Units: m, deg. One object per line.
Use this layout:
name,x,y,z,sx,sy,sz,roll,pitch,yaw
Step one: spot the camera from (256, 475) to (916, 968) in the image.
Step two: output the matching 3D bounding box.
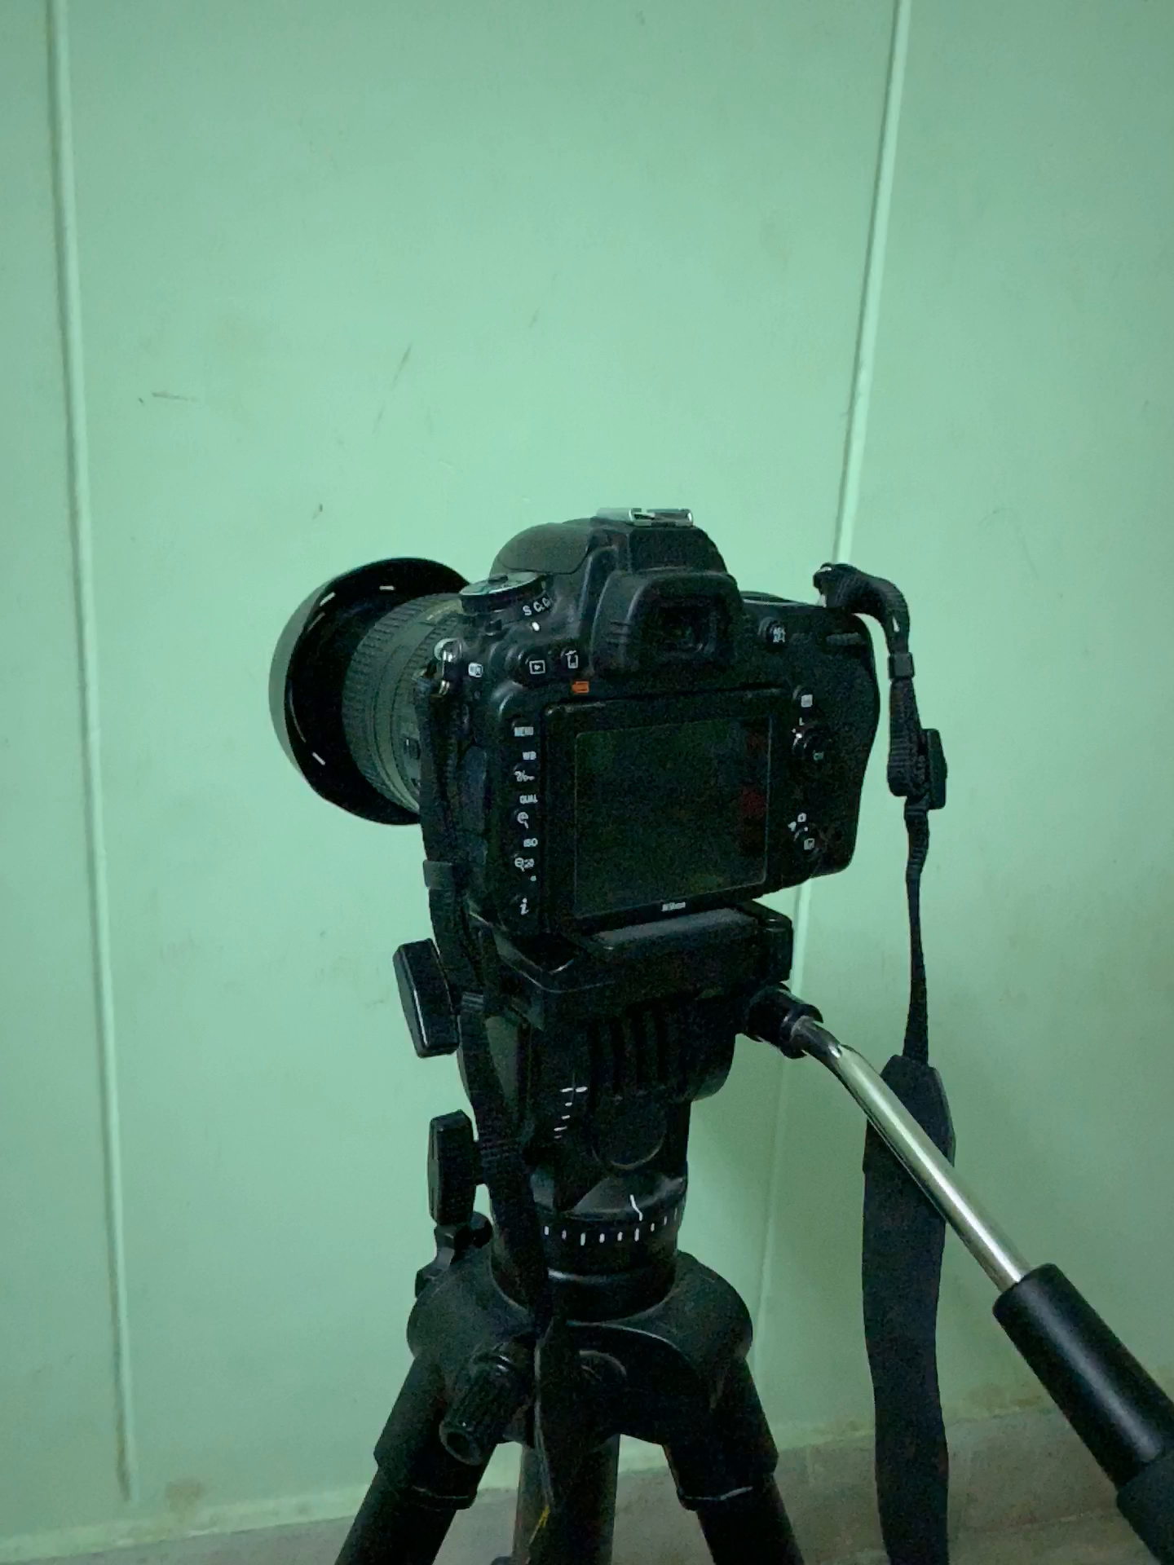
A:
camera,-0.013,-0.038,0.412,0.140,0.117,0.182,-7,18,-32
